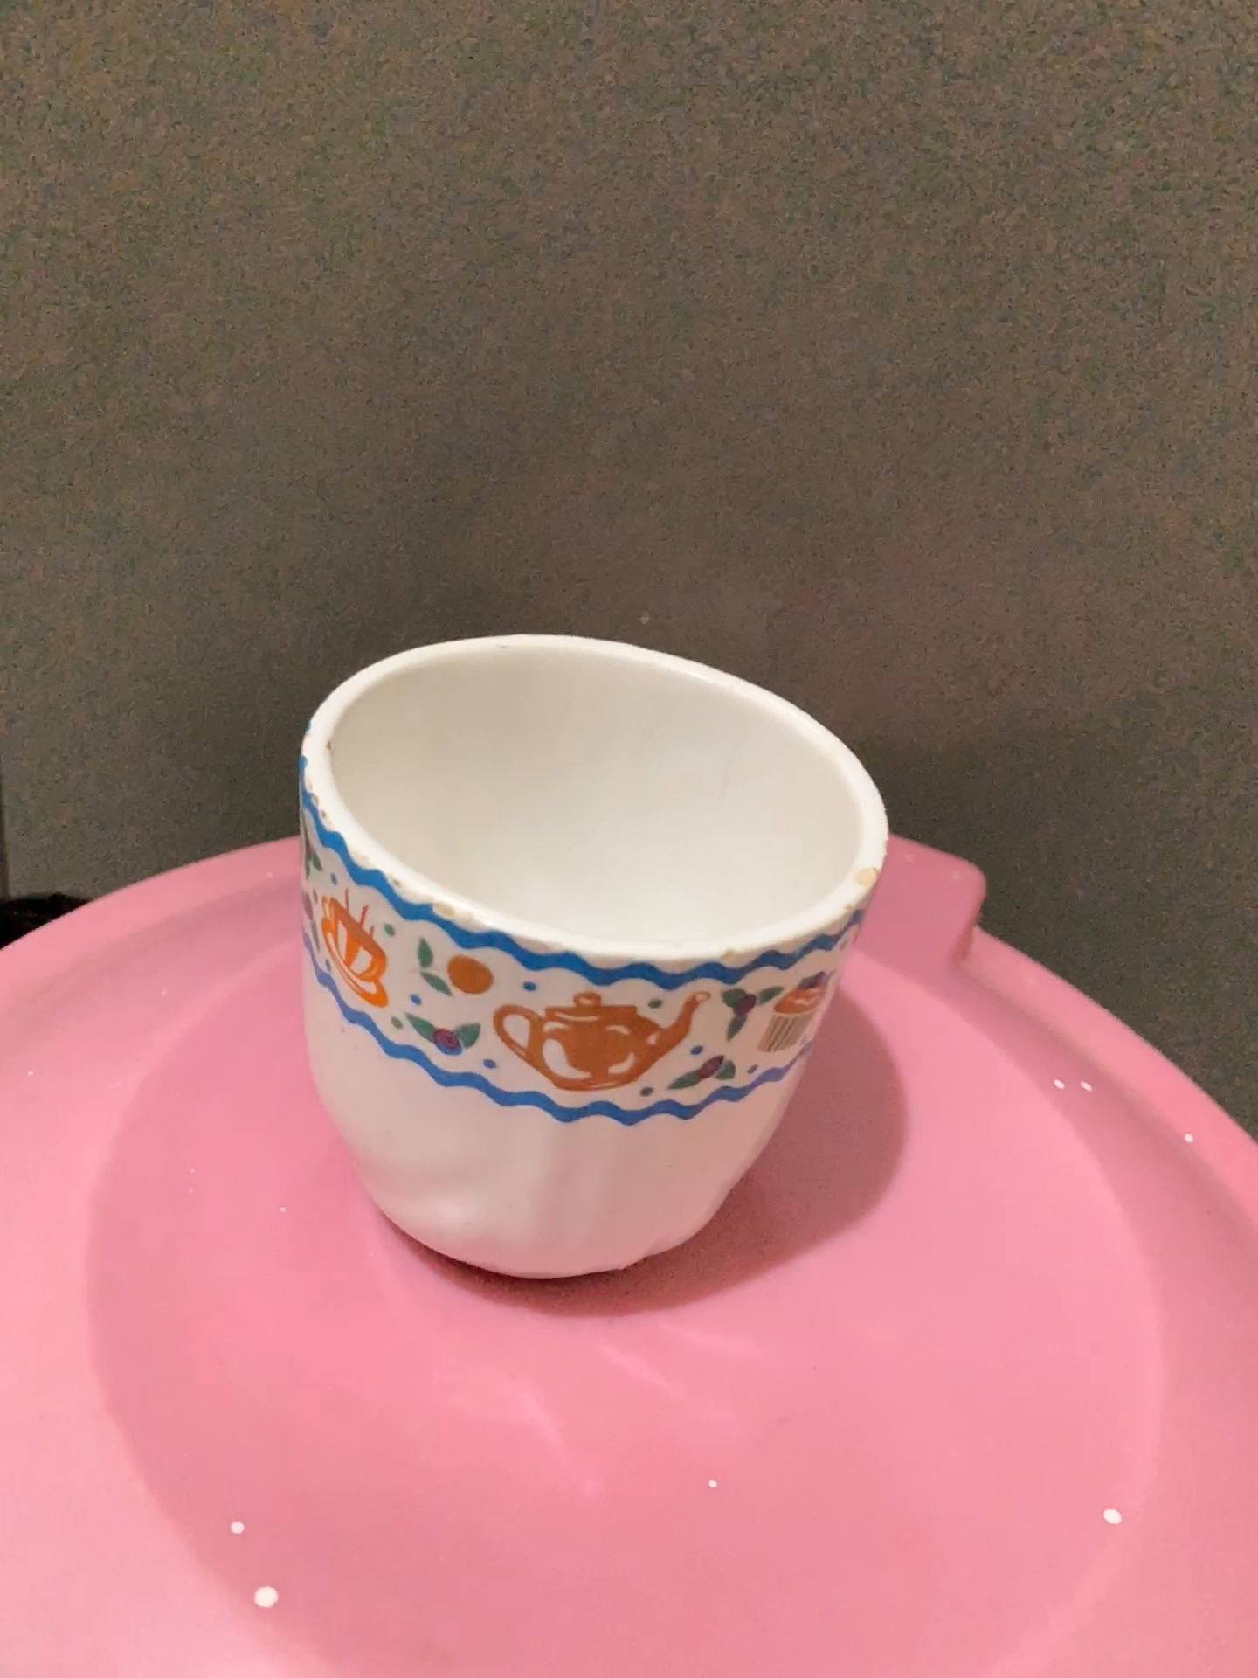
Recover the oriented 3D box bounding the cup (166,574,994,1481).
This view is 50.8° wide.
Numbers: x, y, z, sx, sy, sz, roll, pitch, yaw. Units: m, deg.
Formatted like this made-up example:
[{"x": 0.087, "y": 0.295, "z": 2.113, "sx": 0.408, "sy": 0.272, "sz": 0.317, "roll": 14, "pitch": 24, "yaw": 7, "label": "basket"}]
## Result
[{"x": -0.003, "y": 0.016, "z": 0.166, "sx": 0.076, "sy": 0.062, "sz": 0.072, "roll": 8, "pitch": 30, "yaw": -5, "label": "cup"}]
